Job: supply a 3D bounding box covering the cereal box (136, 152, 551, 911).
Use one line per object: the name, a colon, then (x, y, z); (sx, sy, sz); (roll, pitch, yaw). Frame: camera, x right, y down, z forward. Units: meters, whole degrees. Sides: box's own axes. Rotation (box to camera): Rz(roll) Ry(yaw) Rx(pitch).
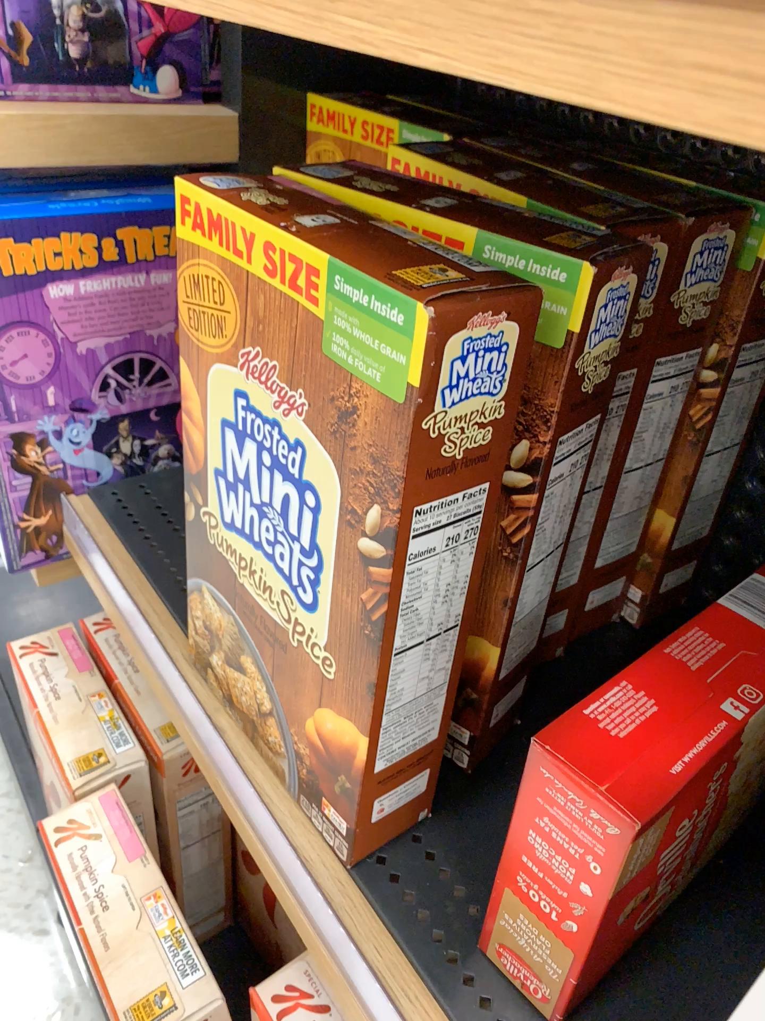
cereal box: (-0.046, 0.013, 0.384); (0.050, 0.308, 0.201); (-18, 41, -35)
